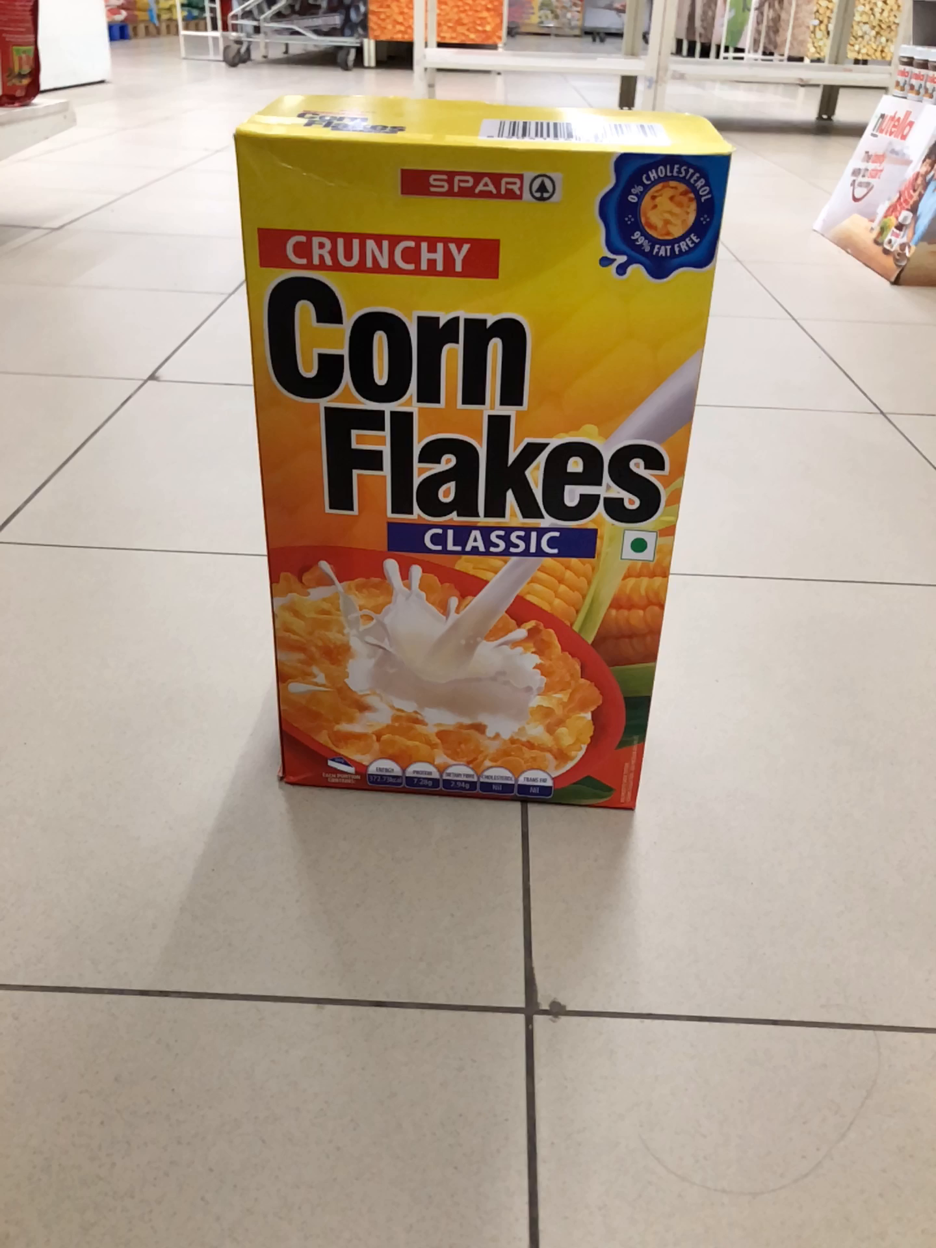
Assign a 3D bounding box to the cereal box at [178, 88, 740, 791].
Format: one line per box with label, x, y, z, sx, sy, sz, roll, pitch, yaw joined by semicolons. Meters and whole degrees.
cereal box;-0.006;-0.077;0.483;0.200;0.298;0.101;3;30;1
